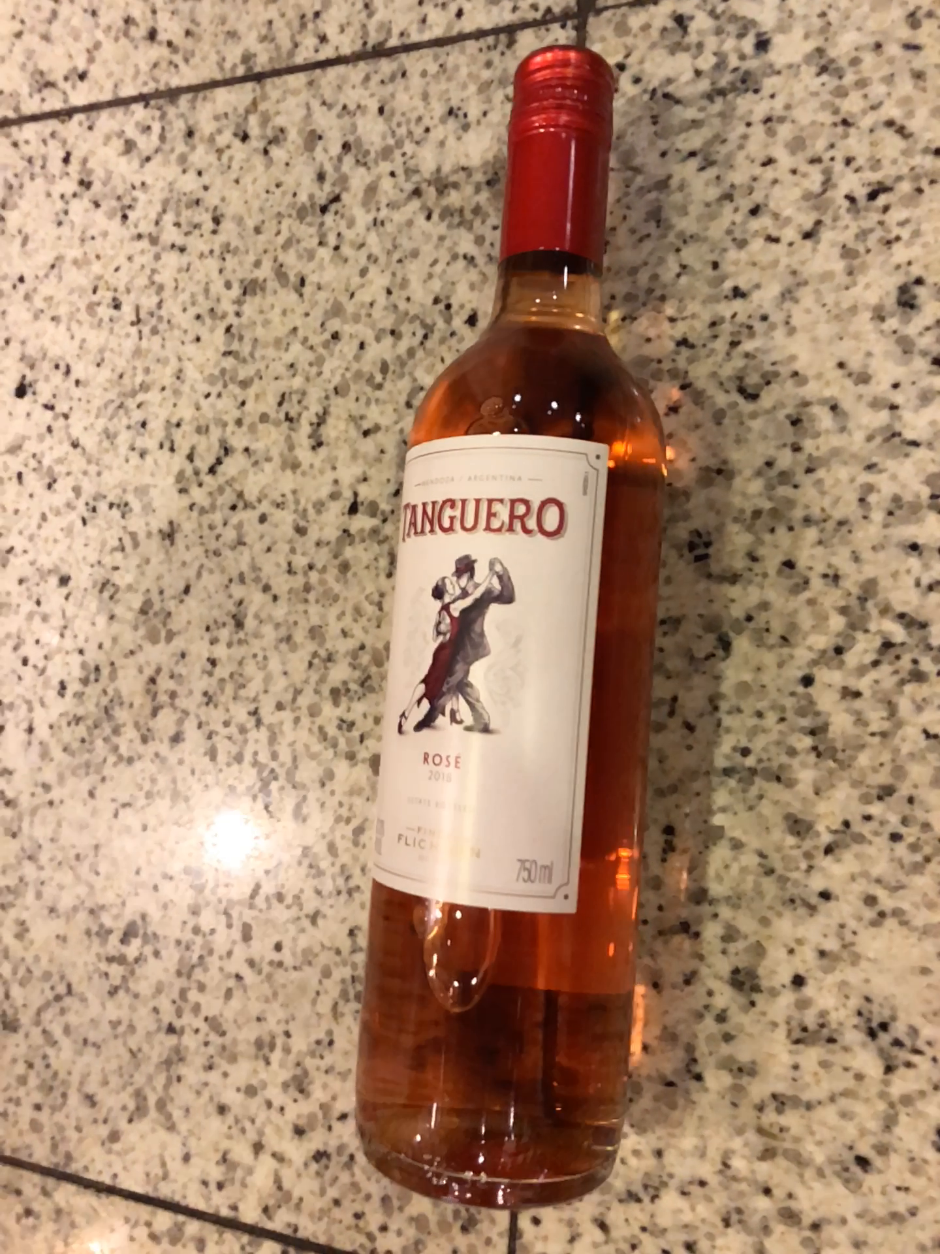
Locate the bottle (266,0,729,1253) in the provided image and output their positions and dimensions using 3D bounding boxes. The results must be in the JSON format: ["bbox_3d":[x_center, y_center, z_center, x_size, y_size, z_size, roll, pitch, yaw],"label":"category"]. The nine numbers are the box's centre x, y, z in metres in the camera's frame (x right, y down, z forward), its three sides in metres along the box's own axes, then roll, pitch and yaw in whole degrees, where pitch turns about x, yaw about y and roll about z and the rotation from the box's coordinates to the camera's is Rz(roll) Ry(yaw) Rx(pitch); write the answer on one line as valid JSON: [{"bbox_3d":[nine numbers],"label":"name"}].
[{"bbox_3d":[0.013,-0.021,0.282,0.090,0.060,0.320,2,85,22],"label":"bottle"}]
